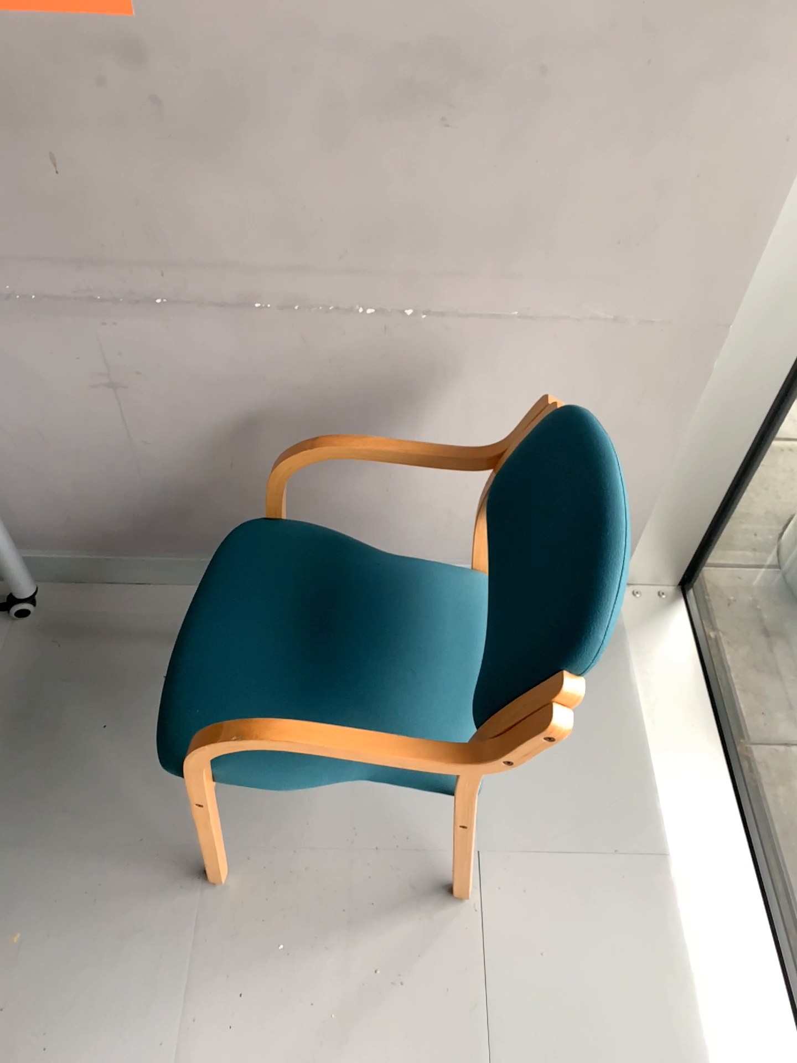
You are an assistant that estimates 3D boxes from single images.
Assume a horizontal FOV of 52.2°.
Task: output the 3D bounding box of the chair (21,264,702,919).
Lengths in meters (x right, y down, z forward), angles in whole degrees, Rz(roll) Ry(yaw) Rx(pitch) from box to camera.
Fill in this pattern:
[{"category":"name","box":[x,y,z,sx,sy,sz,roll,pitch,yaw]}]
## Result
[{"category":"chair","box":[-0.035,0.118,1.261,0.640,0.724,0.686,3,50,0]}]
